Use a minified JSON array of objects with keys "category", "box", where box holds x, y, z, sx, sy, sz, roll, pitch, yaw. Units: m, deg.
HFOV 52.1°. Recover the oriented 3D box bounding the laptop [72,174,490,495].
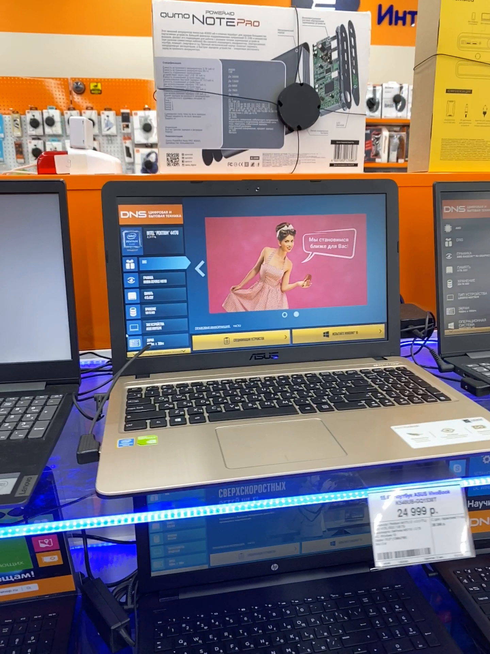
[{"category":"laptop","box":[0.046,-0.033,0.523,0.376,0.230,0.294,-3,15,-10]}]
